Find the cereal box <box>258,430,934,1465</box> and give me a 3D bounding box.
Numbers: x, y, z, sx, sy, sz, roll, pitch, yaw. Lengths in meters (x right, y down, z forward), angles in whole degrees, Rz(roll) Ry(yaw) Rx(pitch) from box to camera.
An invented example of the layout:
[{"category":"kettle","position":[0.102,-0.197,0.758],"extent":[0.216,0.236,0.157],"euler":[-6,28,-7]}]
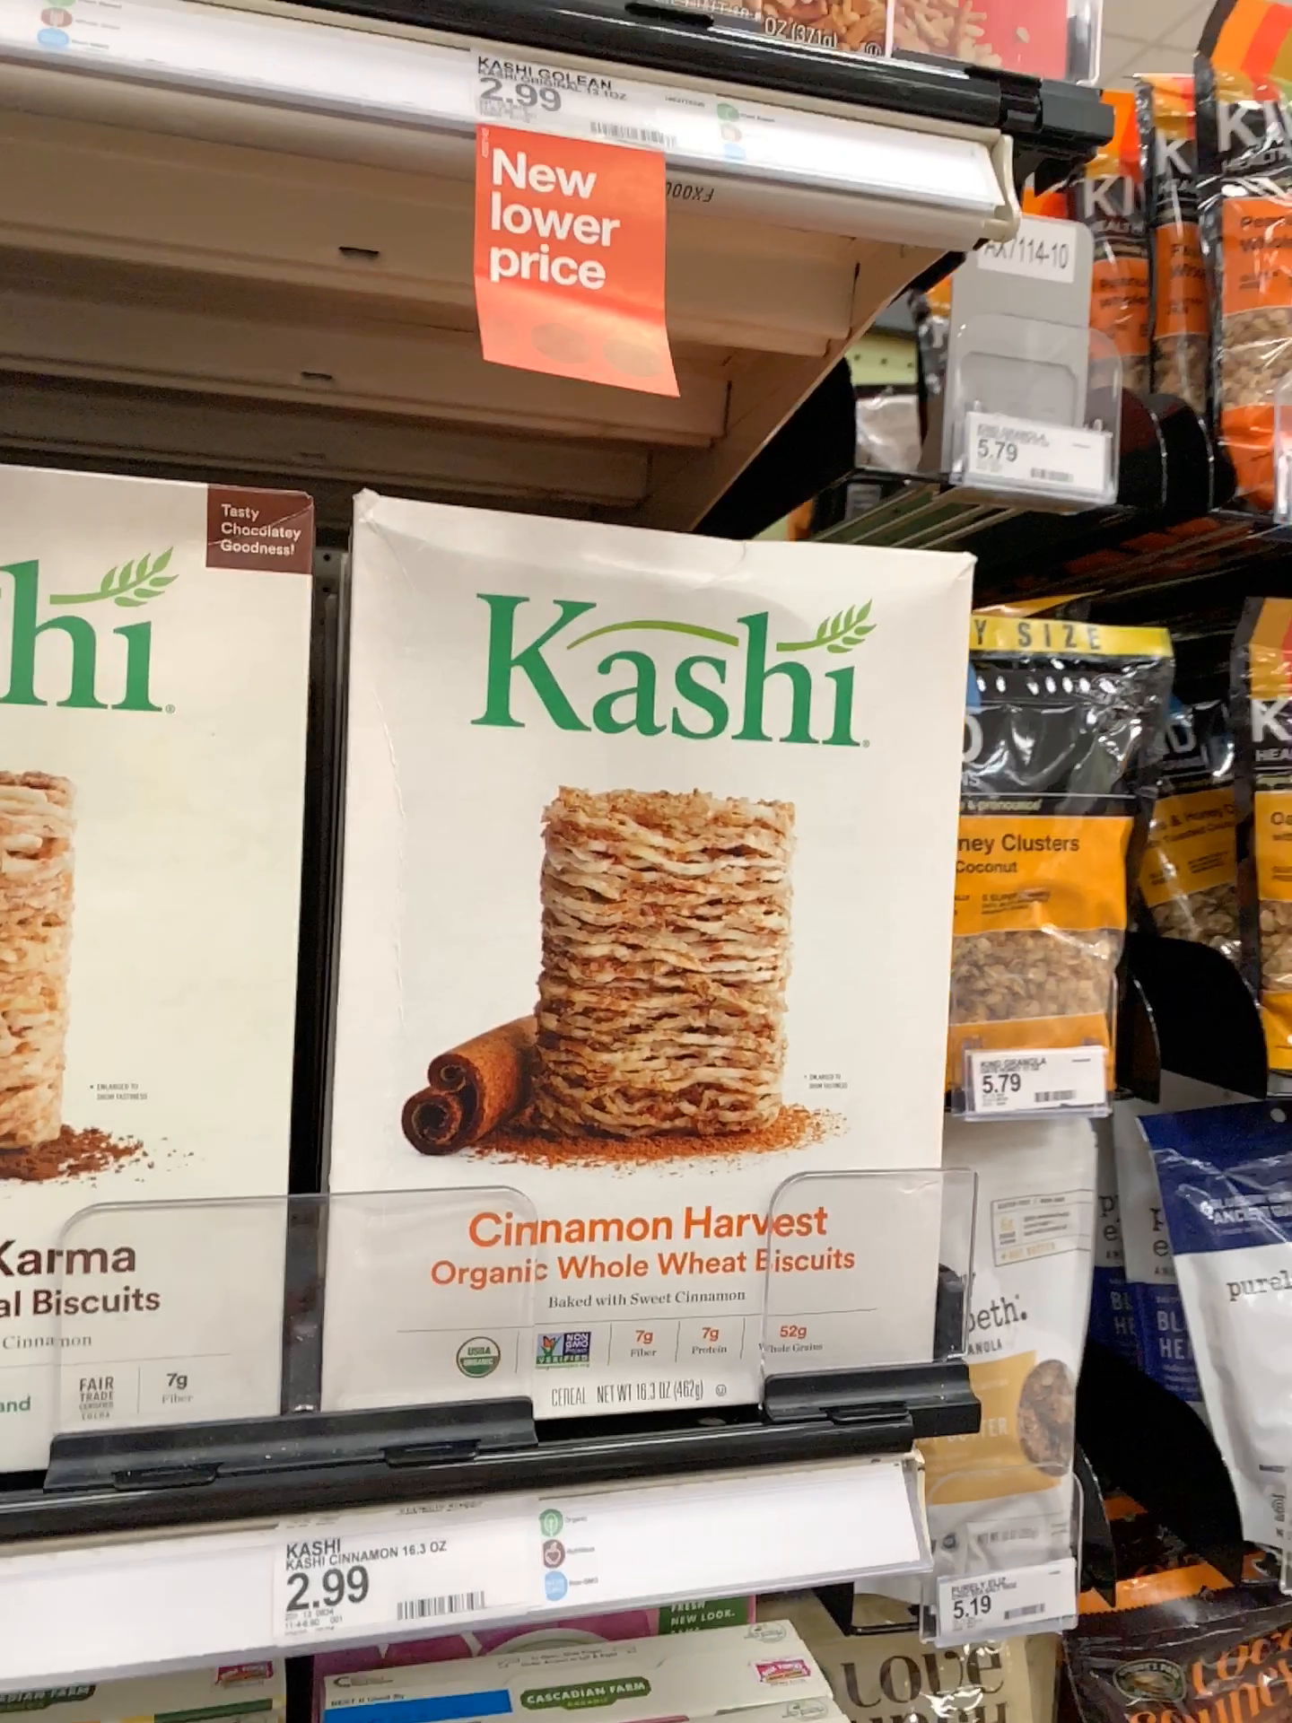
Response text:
[{"category":"cereal box","position":[-0.018,0.025,0.419],"extent":[0.190,0.280,0.070],"euler":[2,1,-15]}]
